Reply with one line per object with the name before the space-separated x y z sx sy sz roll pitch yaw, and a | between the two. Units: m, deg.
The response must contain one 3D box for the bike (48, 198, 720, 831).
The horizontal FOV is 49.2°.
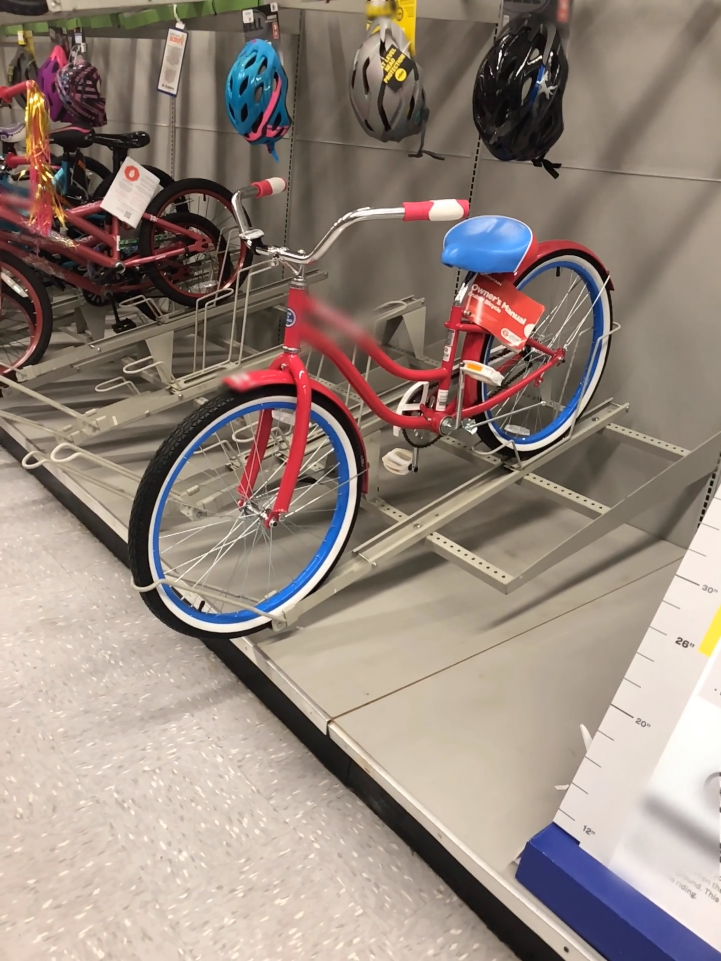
bike | 0.107 -0.124 2.092 1.608 0.676 0.812 -28 37 -31
